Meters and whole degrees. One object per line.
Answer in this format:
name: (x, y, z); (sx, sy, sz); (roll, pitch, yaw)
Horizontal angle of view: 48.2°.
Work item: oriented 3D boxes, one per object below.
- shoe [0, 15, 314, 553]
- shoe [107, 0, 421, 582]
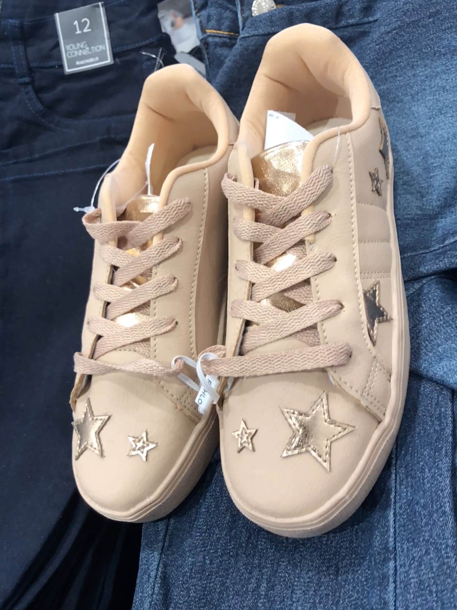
shoe: (-0.027, -0.014, 0.276); (0.090, 0.089, 0.251); (-1, 67, 30)
shoe: (0.035, -0.016, 0.248); (0.090, 0.089, 0.251); (-6, 59, 27)
